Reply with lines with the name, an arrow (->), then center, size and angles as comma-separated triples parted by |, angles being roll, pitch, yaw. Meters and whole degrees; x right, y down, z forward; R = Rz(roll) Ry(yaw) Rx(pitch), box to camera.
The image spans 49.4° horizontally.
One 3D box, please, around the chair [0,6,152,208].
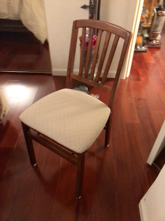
chair -> -0.046, -0.010, 1.063 | 0.501, 0.923, 0.563 | 24, 46, 24
